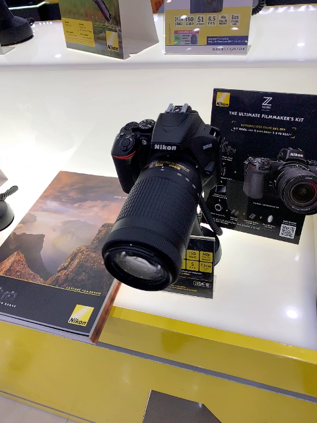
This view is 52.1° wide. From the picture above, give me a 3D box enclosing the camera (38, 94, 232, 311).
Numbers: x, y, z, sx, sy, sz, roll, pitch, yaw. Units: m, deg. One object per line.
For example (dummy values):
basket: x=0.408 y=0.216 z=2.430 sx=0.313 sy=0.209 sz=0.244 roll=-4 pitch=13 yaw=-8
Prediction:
camera: x=0.001 y=-0.021 z=0.308 sx=0.120 sy=0.100 sz=0.181 roll=4 pitch=45 yaw=15
